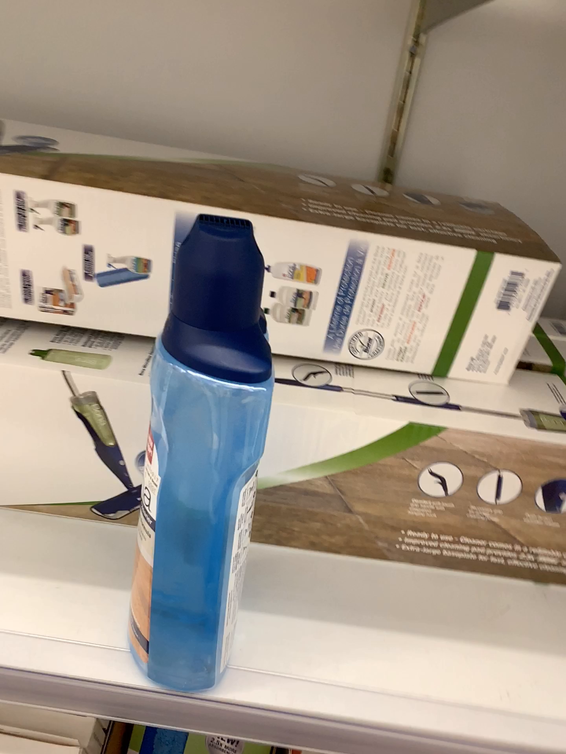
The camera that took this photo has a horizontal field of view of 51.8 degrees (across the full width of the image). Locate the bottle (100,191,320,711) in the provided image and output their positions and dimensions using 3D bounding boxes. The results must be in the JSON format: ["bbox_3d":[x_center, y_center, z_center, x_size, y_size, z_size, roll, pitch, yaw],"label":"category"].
[{"bbox_3d":[-0.052,0.054,0.325,0.080,0.279,0.100,1,32,-12],"label":"bottle"}]
